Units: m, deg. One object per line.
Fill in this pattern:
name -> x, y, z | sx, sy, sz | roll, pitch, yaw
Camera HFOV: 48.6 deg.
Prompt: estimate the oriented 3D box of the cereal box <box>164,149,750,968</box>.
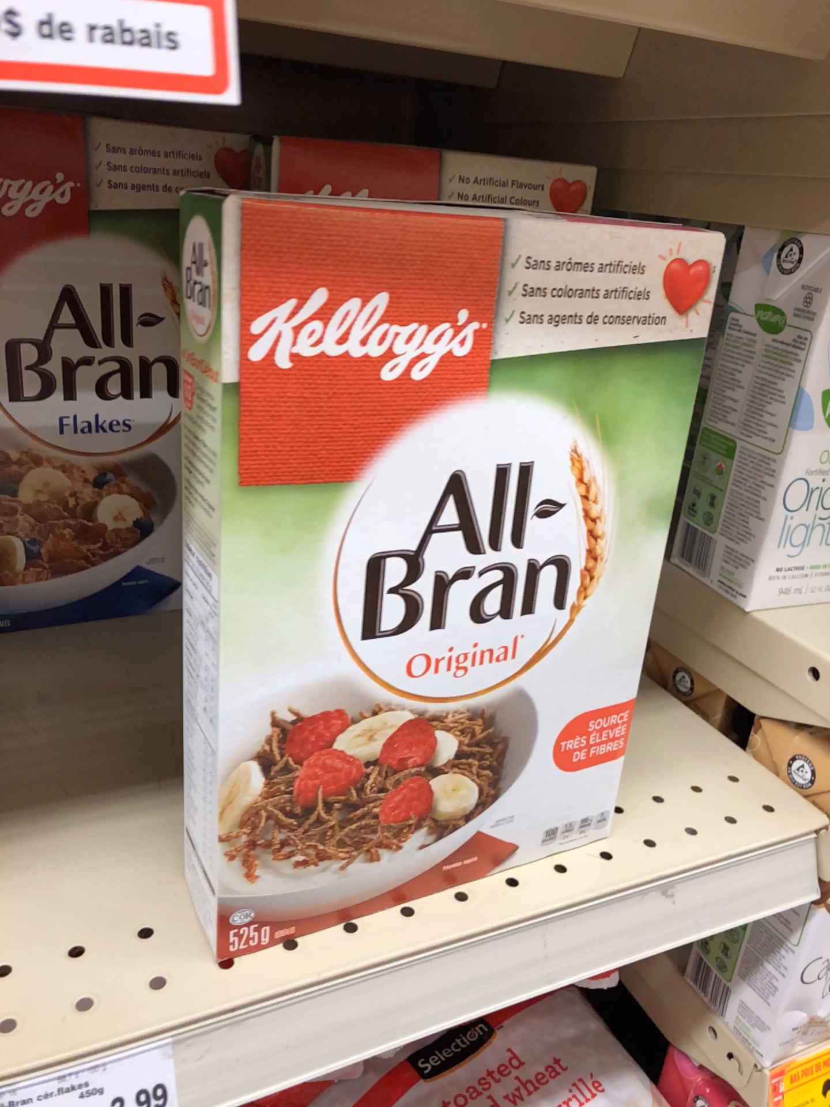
cereal box -> 0.007, 0.002, 0.362 | 0.190, 0.278, 0.070 | -7, 26, -29
